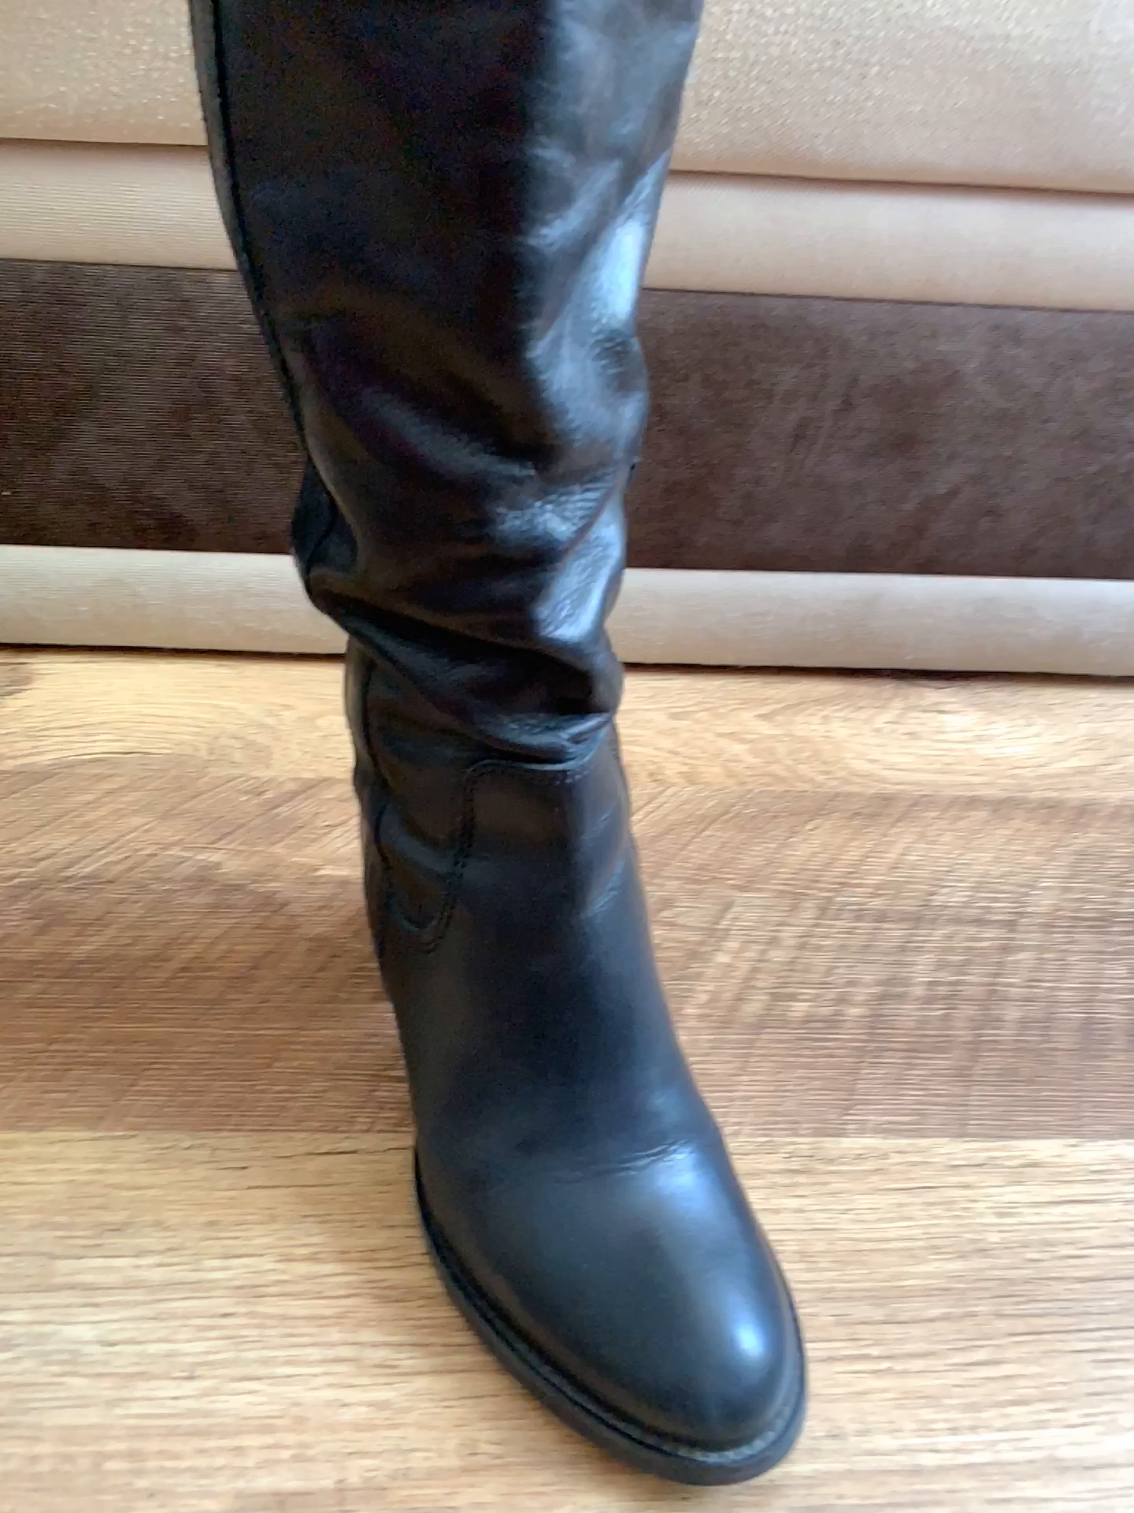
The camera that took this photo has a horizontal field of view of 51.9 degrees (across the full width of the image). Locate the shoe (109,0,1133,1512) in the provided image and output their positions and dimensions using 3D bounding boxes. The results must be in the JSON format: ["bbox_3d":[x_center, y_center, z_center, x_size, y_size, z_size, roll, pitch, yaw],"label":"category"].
[{"bbox_3d":[0.027,-0.092,0.210,0.100,0.497,0.211,-13,37,-23],"label":"shoe"}]
